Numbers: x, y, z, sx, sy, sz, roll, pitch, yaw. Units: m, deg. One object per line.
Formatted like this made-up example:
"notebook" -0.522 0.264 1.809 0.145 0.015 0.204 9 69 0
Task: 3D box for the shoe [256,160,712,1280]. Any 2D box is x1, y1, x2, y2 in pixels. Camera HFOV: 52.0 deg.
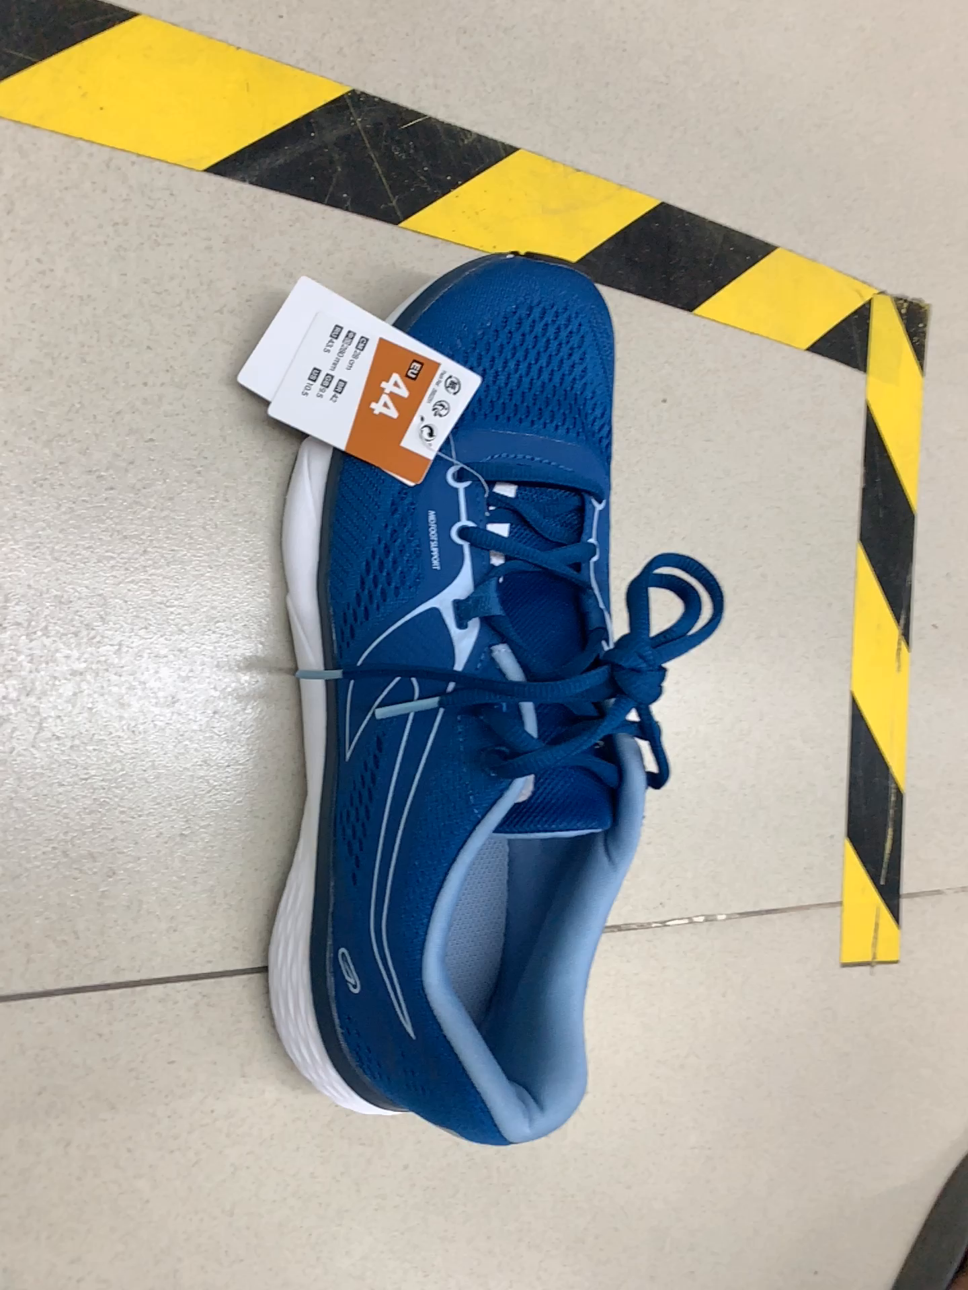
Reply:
"shoe" 0.004 0.018 0.315 0.110 0.070 0.290 8 81 -31
